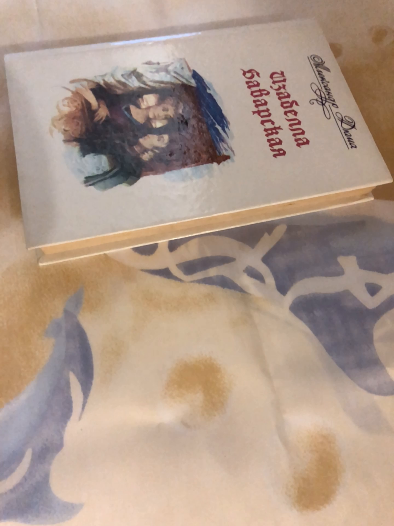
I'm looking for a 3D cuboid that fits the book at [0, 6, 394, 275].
[{"bbox_3d":[-0.001,-0.083,0.265,0.208,0.026,0.140,-12,69,-9],"label":"book"}]
